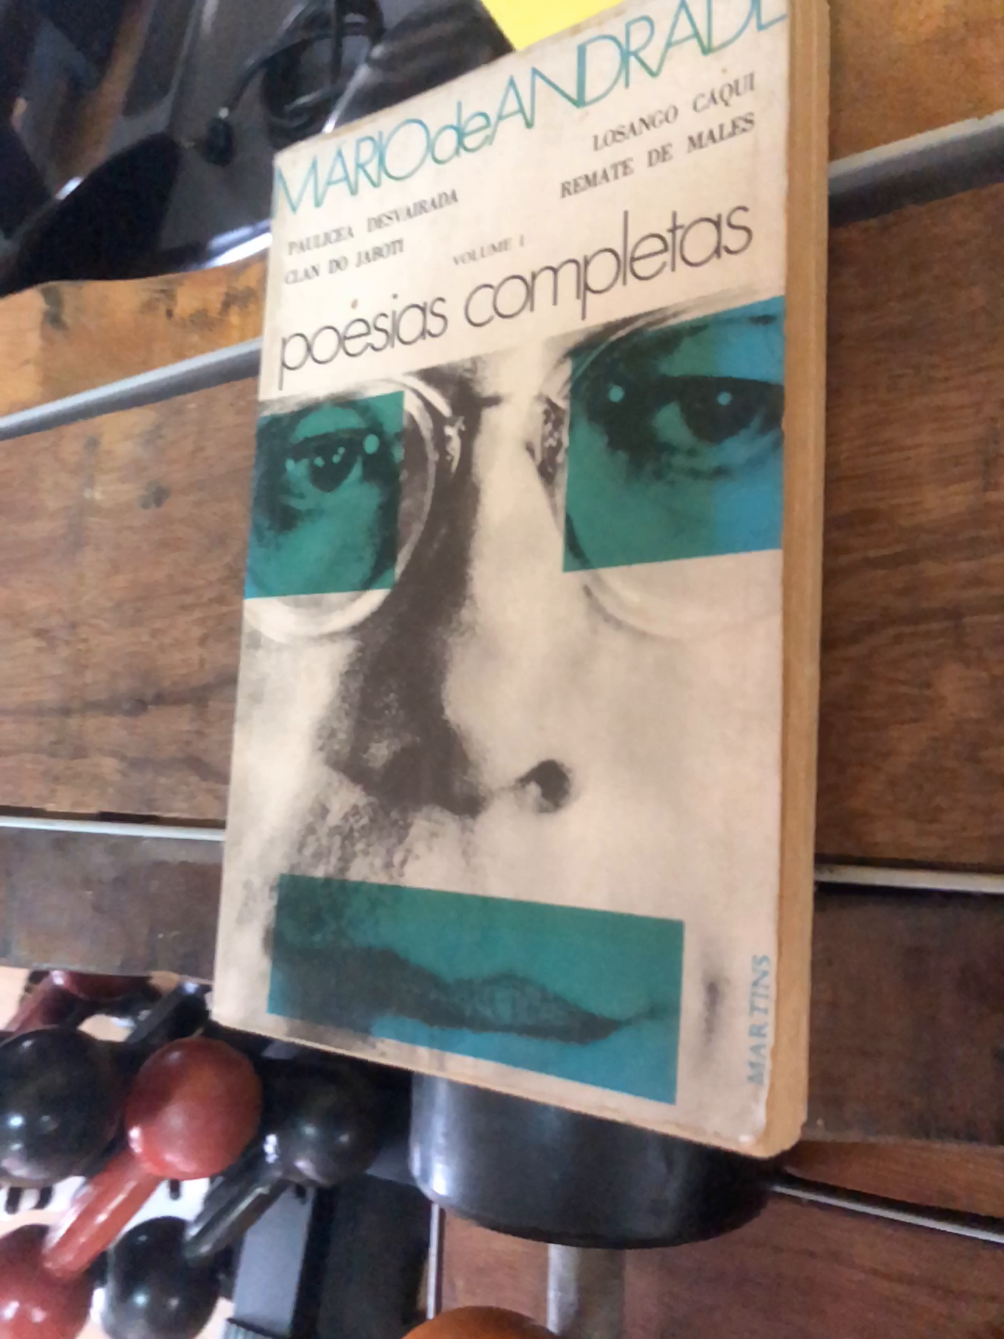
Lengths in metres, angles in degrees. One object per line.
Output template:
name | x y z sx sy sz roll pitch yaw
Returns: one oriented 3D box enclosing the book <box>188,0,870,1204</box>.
book | -0.002 -0.025 0.220 0.140 0.020 0.209 -1 84 36
